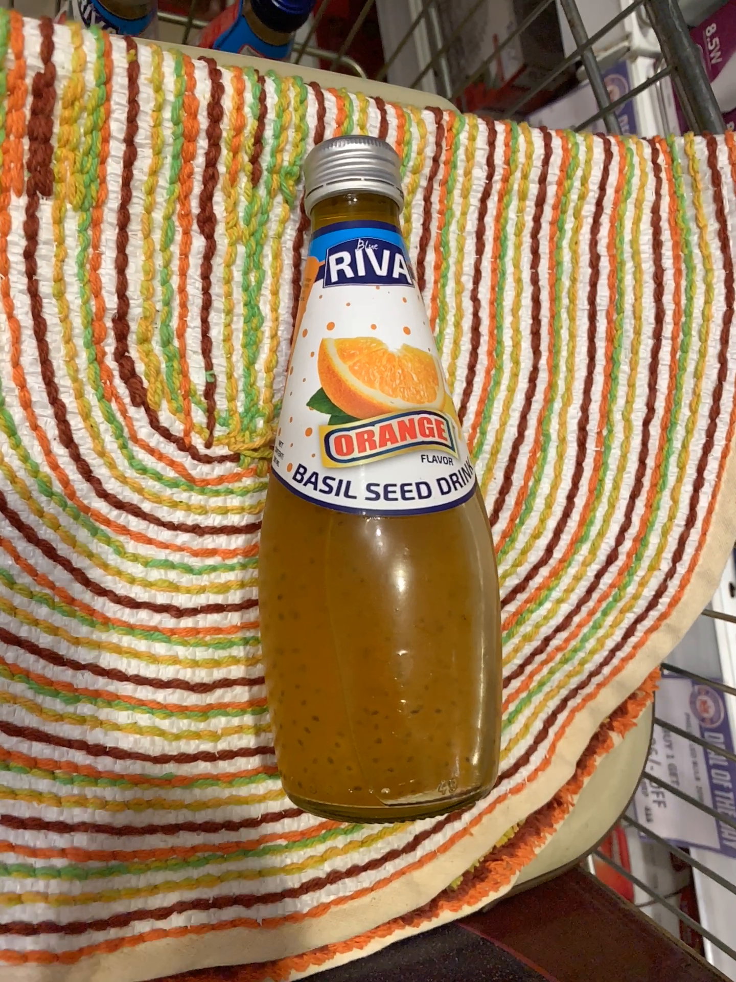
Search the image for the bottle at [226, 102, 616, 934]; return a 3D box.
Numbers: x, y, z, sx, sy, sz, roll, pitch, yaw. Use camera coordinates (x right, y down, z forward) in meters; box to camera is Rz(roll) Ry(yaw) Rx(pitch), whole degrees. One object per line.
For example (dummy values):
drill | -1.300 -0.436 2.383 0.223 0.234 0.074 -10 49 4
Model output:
bottle | 0.007 0.007 0.181 0.070 0.050 0.160 -2 100 -24
